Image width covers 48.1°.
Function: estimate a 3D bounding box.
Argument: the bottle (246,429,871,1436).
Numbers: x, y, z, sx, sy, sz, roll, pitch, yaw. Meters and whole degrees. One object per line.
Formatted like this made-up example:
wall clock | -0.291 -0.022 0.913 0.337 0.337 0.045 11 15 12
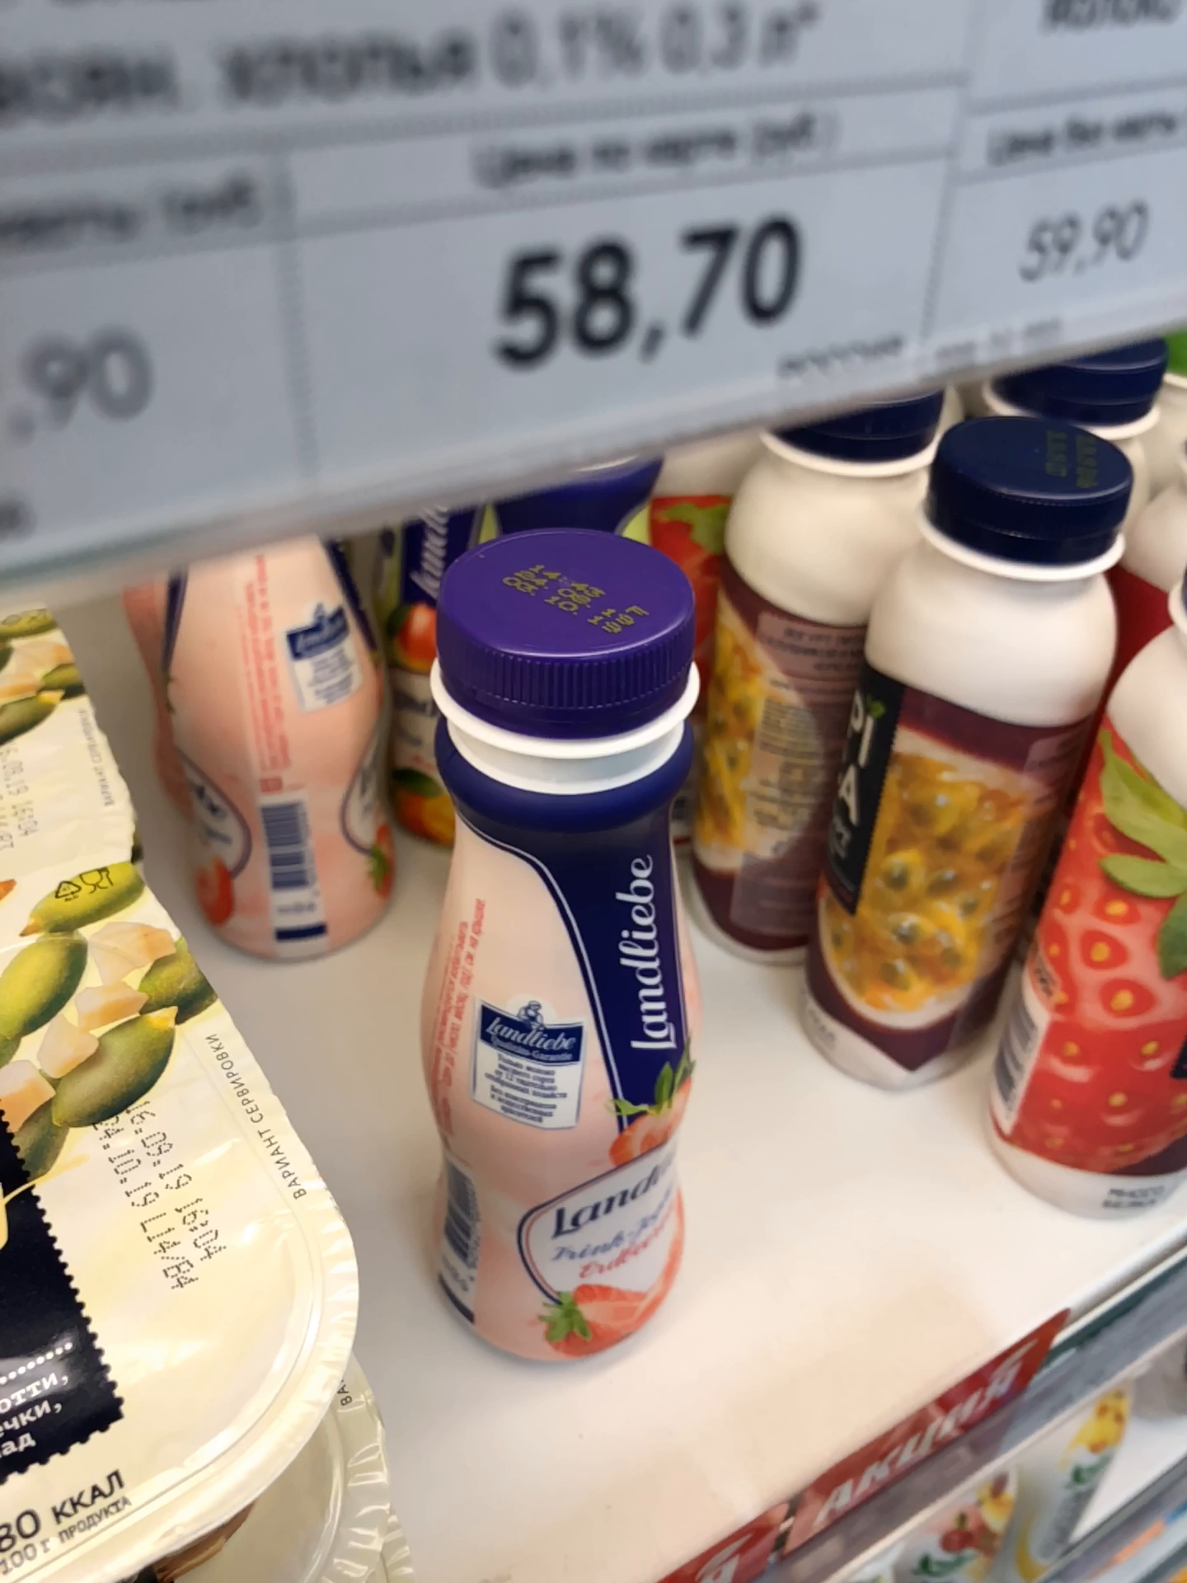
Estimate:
bottle | -0.011 0.037 0.266 0.070 0.189 0.070 2 40 -1
